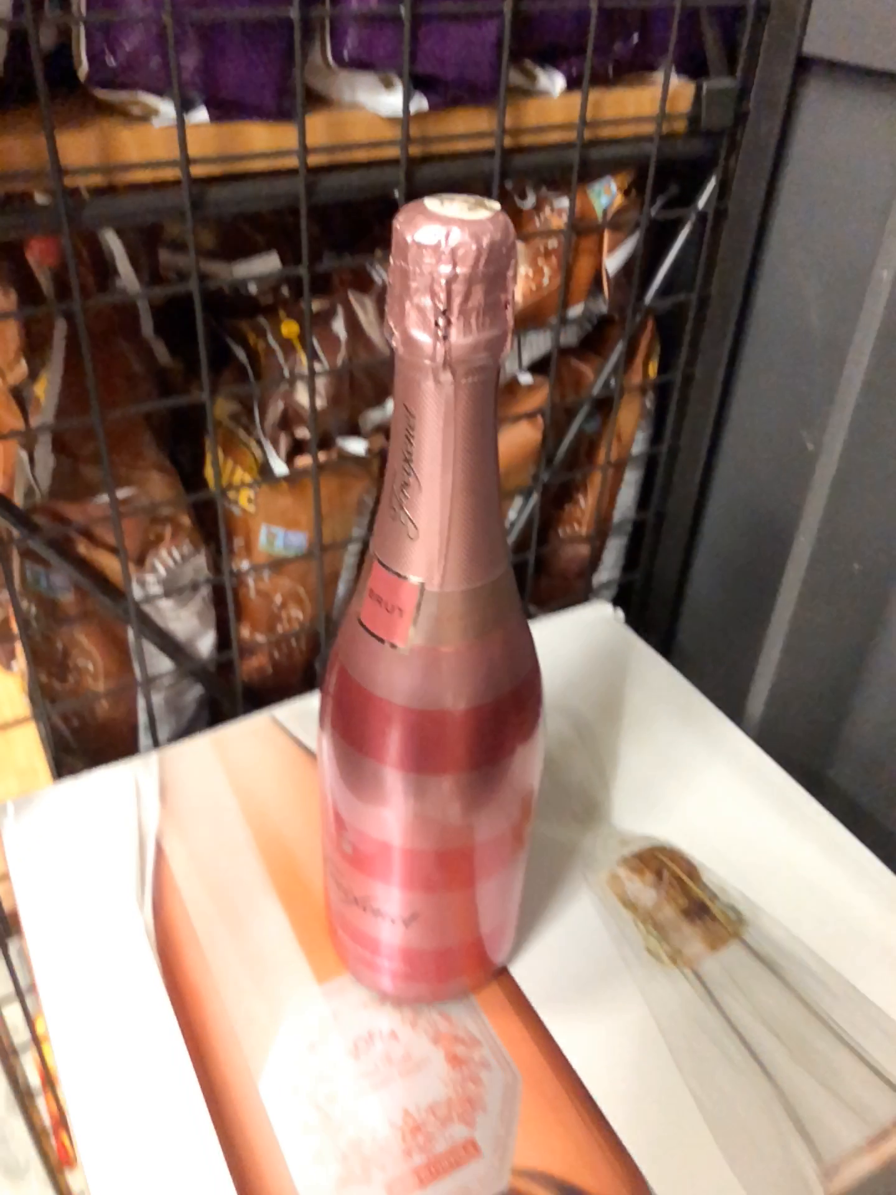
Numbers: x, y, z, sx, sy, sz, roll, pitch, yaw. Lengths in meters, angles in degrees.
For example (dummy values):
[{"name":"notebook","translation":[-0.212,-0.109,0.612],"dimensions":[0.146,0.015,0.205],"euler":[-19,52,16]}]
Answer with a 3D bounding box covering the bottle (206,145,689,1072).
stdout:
[{"name":"bottle","translation":[-0.006,0.021,0.349],"dimensions":[0.090,0.308,0.090],"euler":[2,35,-2]}]
